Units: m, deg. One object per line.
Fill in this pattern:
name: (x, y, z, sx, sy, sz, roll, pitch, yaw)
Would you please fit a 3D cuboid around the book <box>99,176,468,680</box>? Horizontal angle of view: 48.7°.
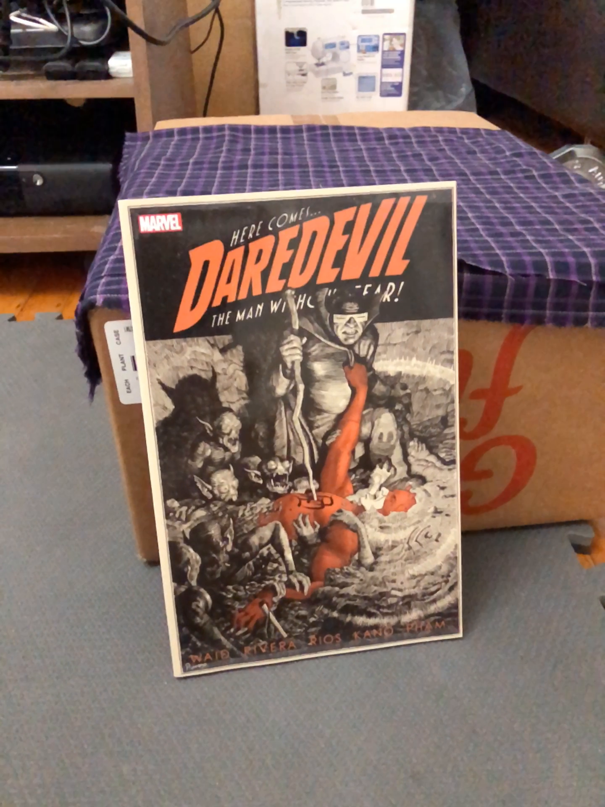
book: (-0.001, 0.014, 0.325, 0.160, 0.229, 0.020, -5, 12, -7)
